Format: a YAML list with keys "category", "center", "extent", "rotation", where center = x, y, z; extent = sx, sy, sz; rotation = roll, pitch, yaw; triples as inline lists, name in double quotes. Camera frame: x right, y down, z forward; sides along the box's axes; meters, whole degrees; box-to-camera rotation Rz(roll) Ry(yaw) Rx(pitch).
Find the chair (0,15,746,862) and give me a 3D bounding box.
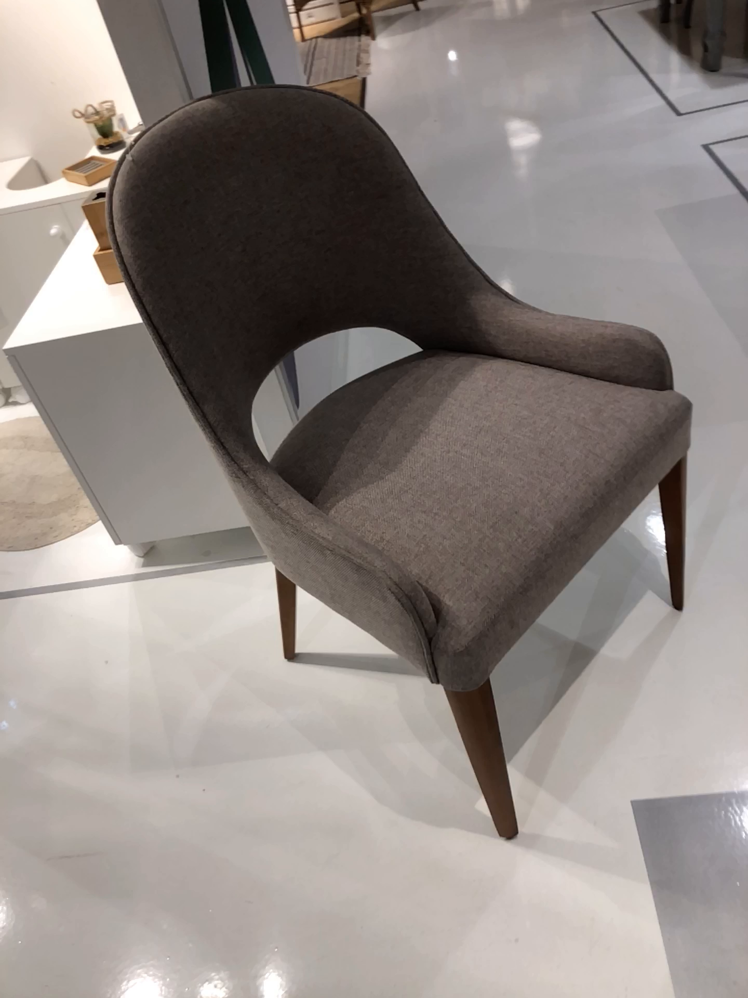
- category: "chair"
  center: [0.059, -0.097, 1.176]
  extent: [0.613, 0.893, 0.572]
  rotation: [25, 55, 38]
